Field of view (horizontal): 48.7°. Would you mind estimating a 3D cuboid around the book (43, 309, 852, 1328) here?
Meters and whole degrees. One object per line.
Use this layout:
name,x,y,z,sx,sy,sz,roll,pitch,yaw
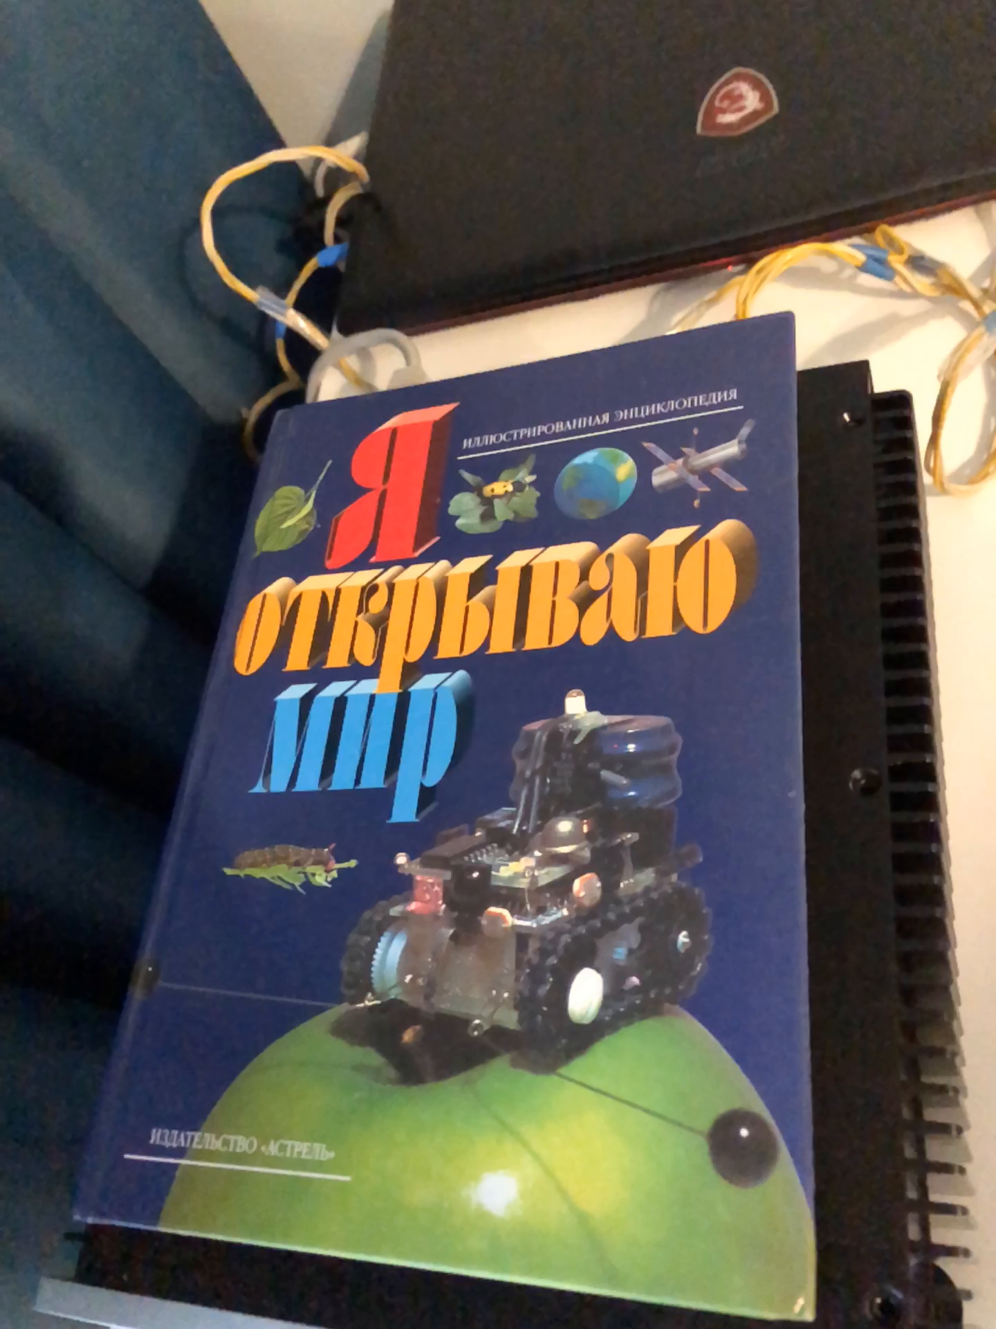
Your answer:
book,-0.004,0.023,0.305,0.186,0.030,0.256,-4,60,22
